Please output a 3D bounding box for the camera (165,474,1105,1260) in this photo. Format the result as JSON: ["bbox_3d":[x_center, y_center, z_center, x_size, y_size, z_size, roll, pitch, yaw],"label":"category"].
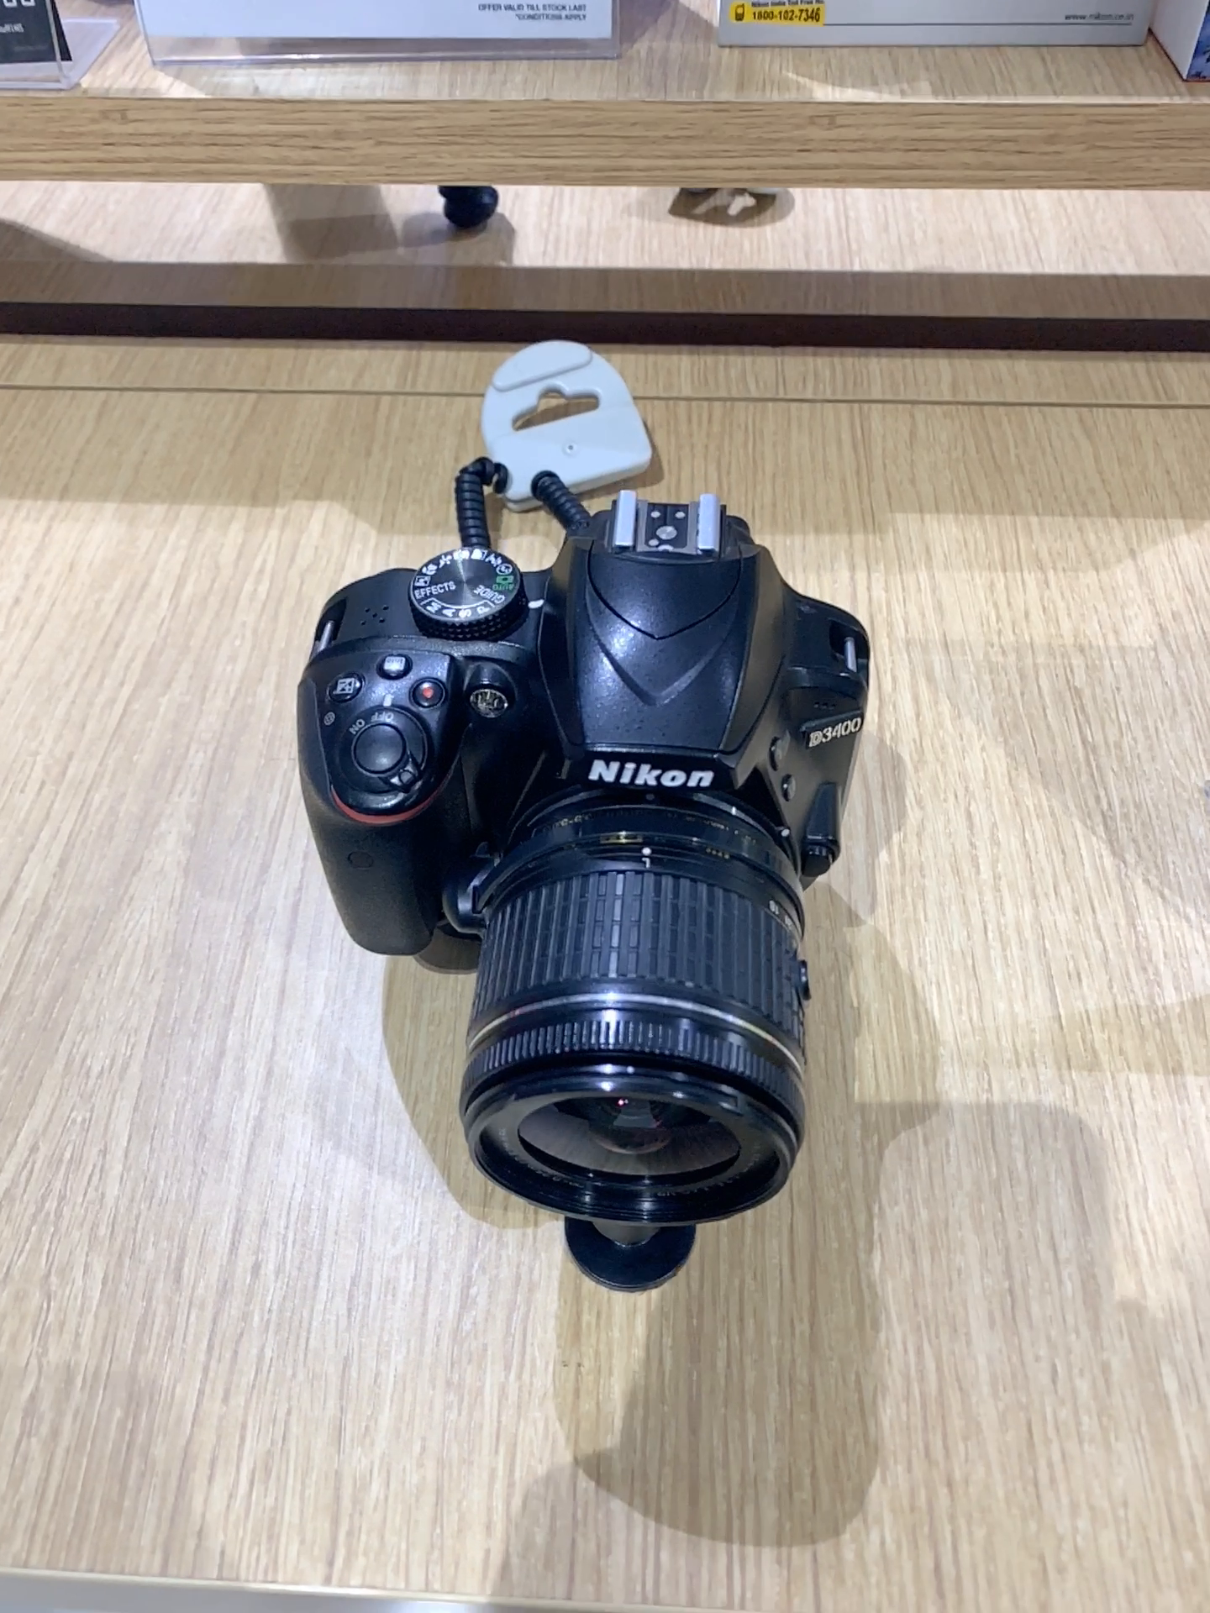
[{"bbox_3d":[0.004,0.009,0.205,0.110,0.073,0.100,3,51,0],"label":"camera"}]
